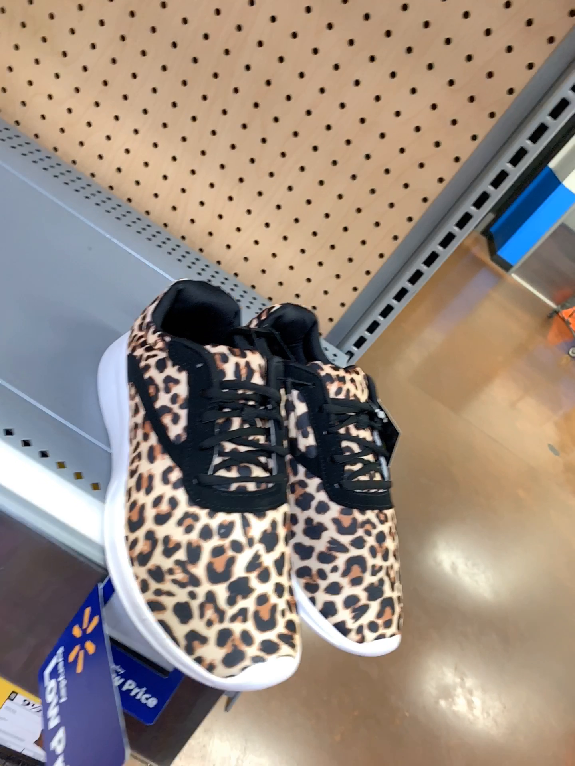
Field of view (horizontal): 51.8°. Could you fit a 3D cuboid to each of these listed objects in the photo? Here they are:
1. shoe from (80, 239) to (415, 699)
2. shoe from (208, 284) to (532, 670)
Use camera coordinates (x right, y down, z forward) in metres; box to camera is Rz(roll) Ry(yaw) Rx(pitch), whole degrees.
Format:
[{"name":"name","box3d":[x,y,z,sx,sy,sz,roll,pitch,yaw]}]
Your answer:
[{"name":"shoe","box3d":[-0.042,0.038,0.358,0.120,0.091,0.241,12,42,-35]},{"name":"shoe","box3d":[0.043,0.054,0.424,0.110,0.091,0.241,9,44,-38]}]
